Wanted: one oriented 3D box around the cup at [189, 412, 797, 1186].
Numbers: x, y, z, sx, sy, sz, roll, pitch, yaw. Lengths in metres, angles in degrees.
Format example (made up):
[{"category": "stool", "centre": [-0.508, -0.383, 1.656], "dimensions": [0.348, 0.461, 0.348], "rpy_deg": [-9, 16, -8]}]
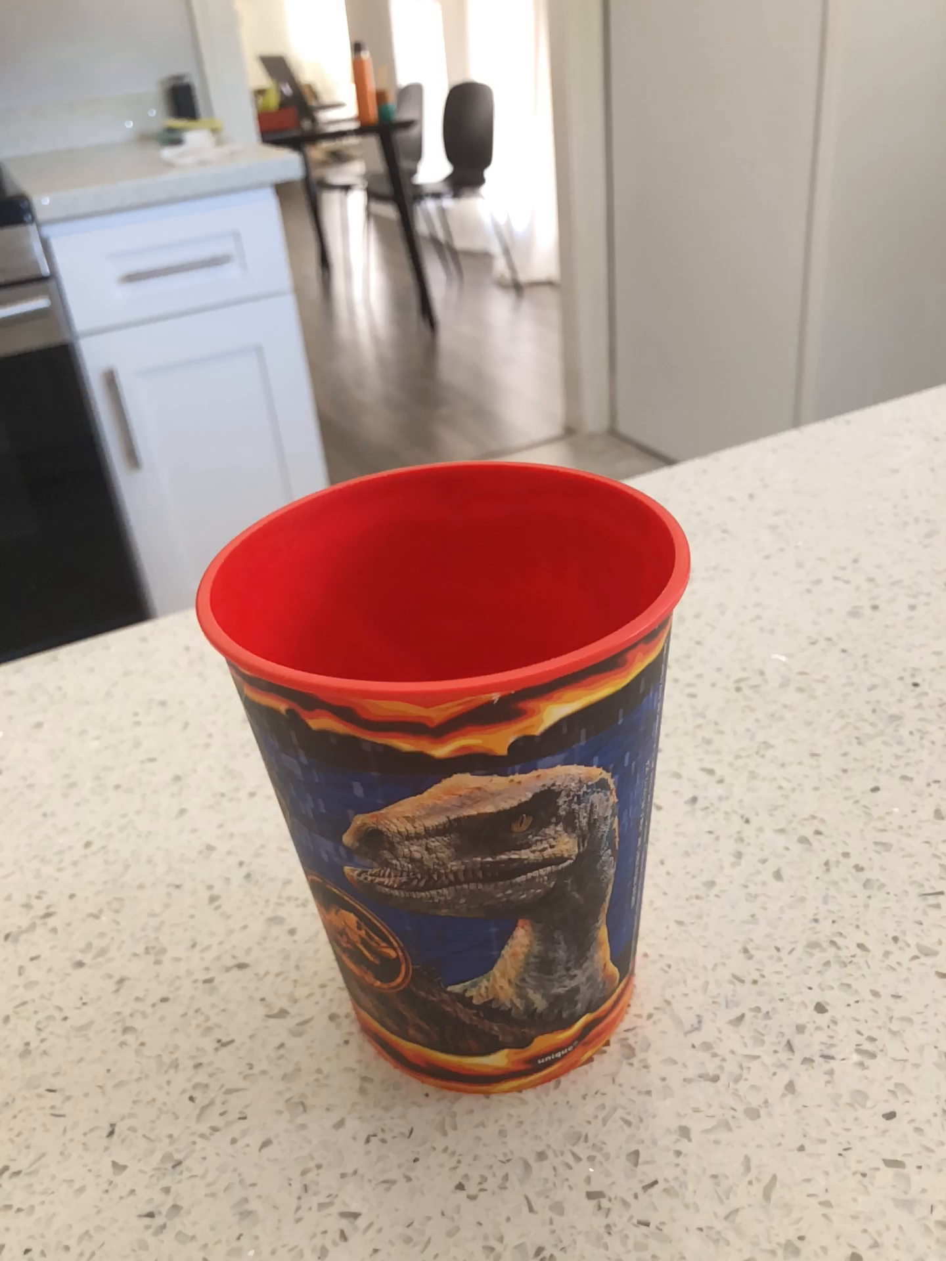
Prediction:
[{"category": "cup", "centre": [0.000, 0.028, 0.221], "dimensions": [0.090, 0.110, 0.090], "rpy_deg": [-5, 30, 3]}]
